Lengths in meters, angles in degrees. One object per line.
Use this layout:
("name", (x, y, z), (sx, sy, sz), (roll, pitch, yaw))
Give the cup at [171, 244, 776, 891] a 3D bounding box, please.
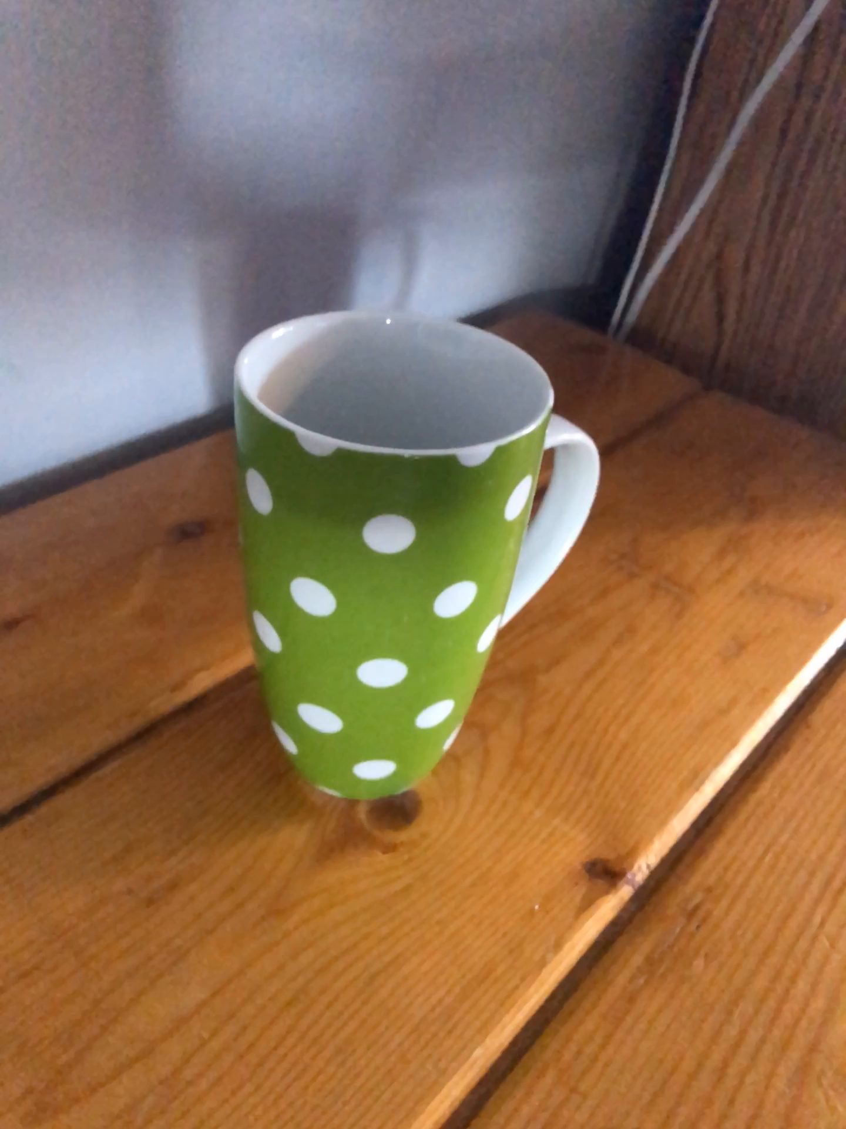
("cup", (0.009, -0.007, 0.322), (0.150, 0.150, 0.100), (-23, 49, -35))
